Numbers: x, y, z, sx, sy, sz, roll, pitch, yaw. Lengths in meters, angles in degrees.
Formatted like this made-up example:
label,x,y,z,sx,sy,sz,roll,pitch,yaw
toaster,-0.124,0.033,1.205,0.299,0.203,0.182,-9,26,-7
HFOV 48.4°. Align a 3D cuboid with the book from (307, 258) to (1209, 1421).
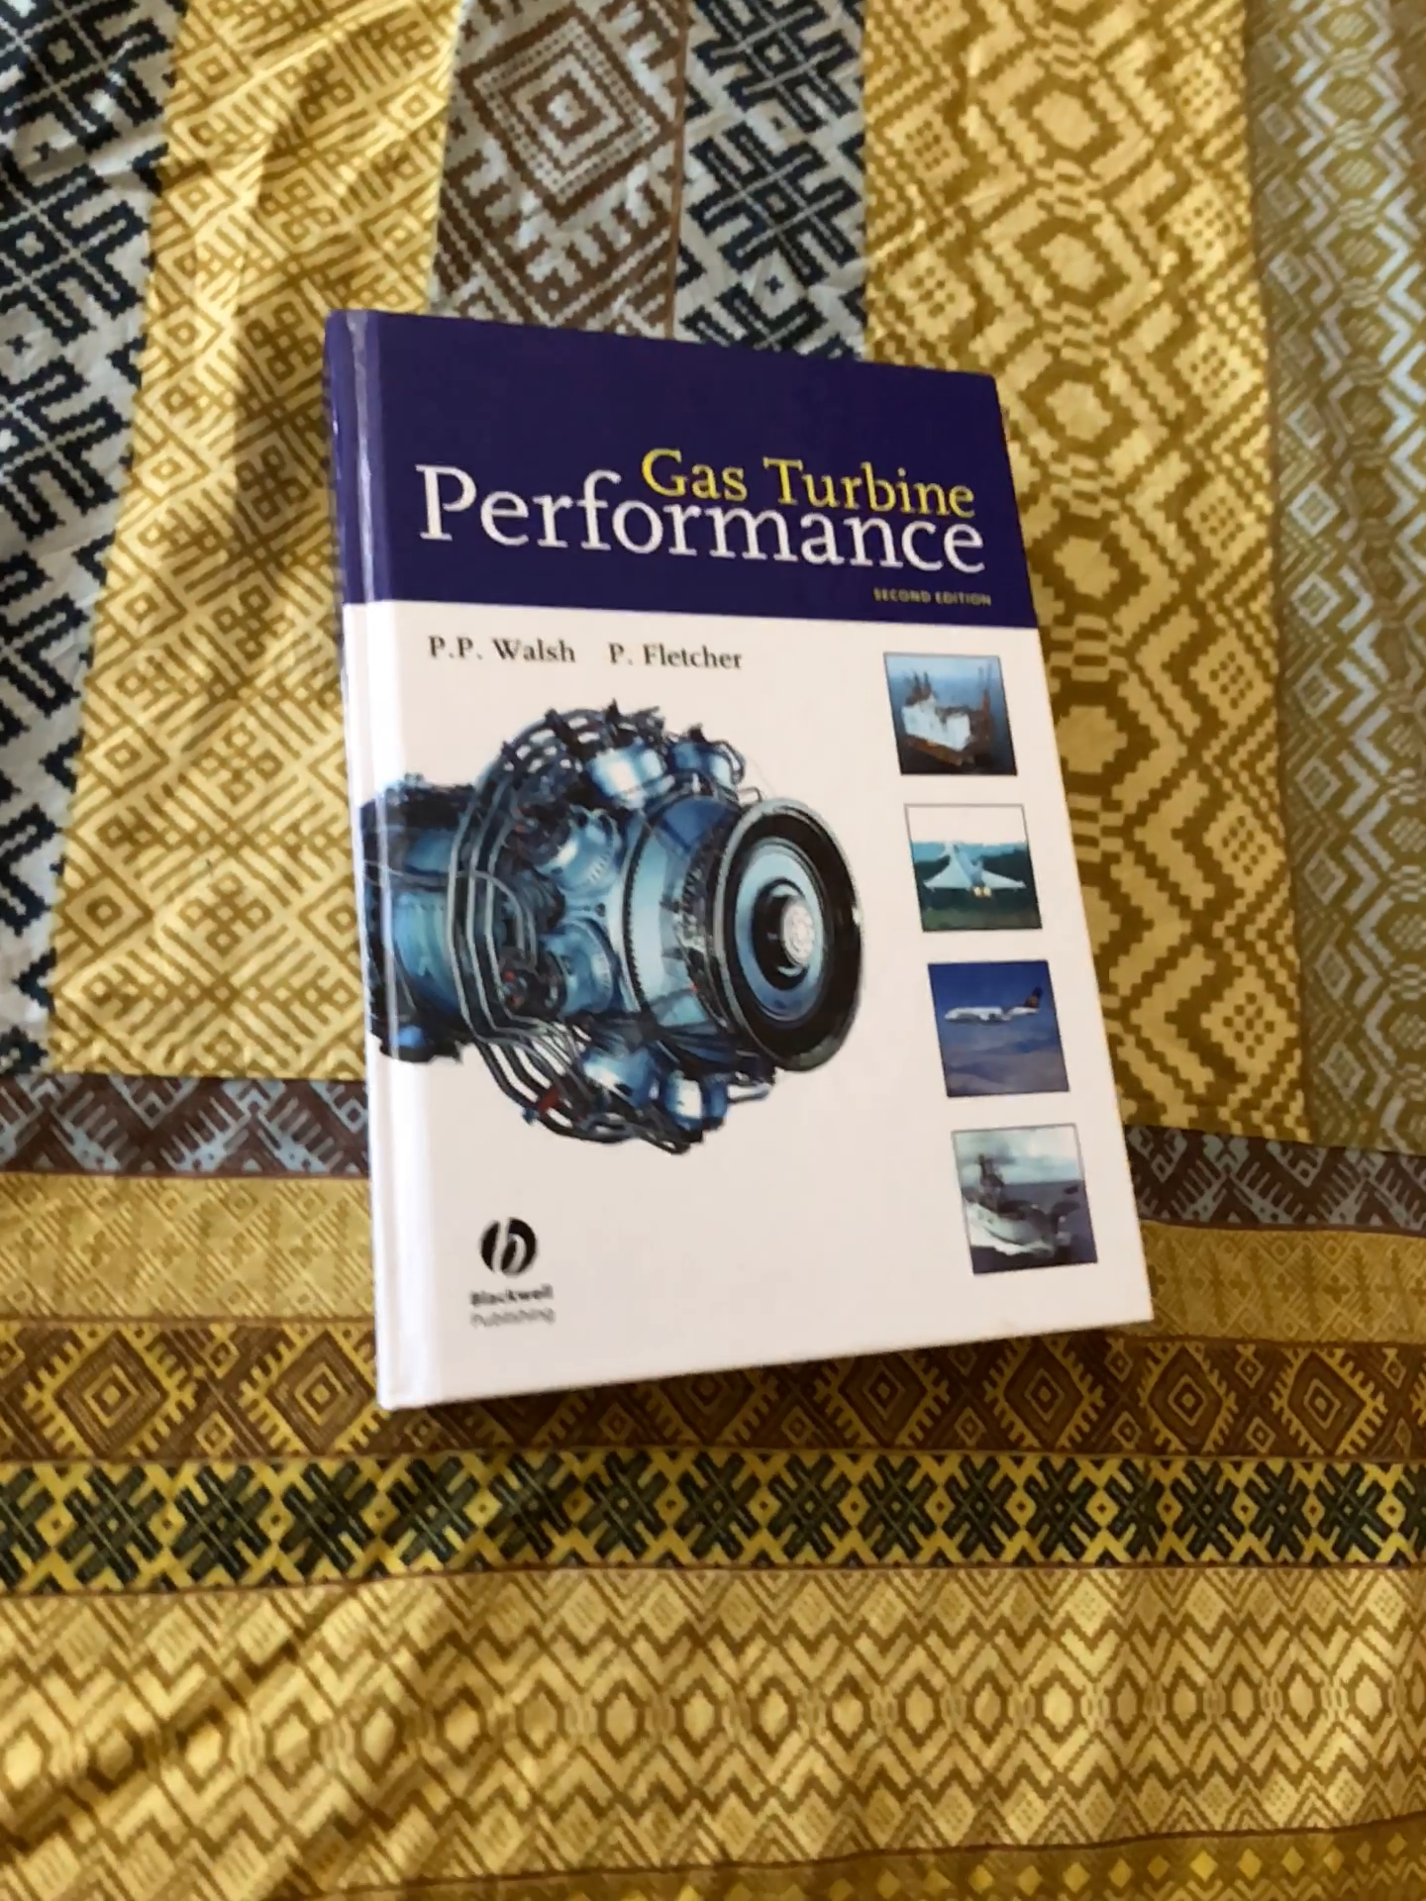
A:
label,x,y,z,sx,sy,sz,roll,pitch,yaw
book,0.004,-0.032,0.410,0.193,0.060,0.272,-2,75,-20
